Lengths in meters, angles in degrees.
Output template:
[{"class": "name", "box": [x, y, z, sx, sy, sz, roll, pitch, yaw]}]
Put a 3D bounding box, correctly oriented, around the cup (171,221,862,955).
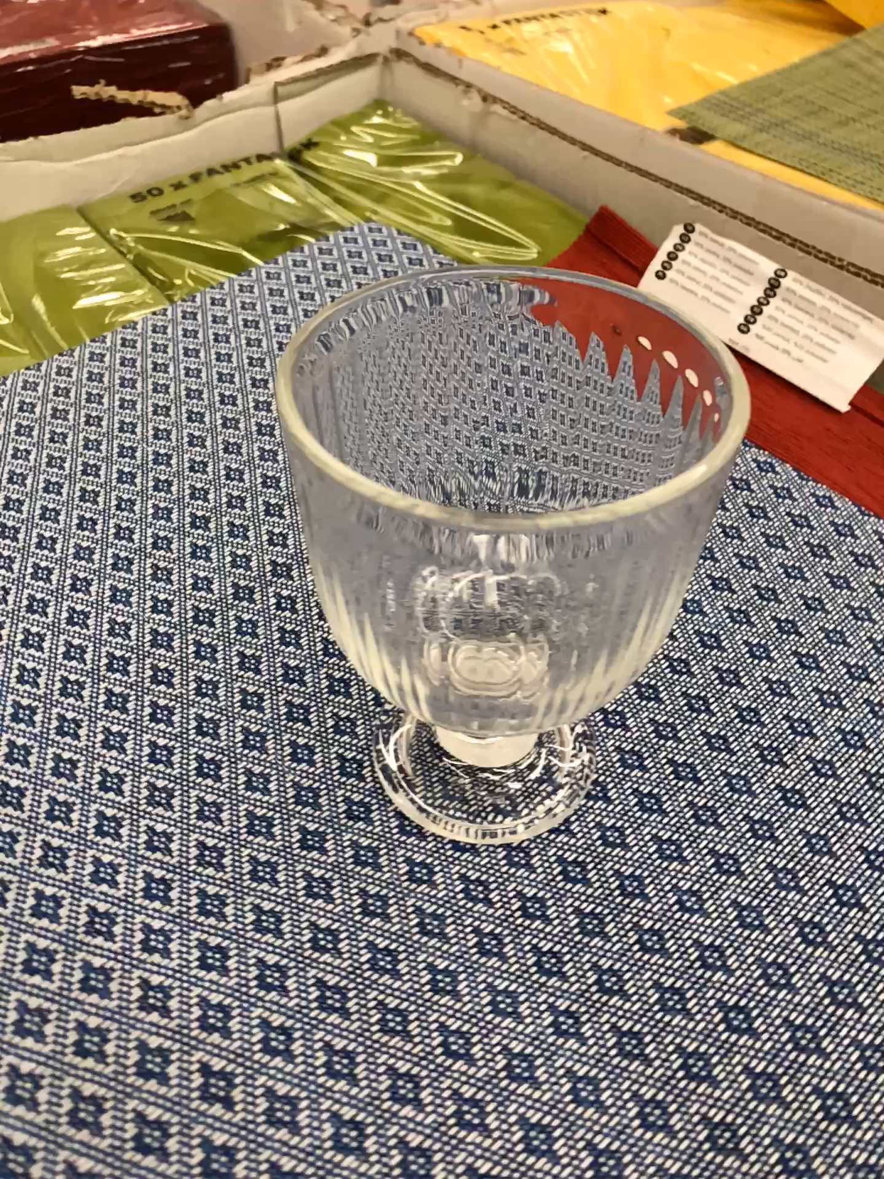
[{"class": "cup", "box": [0.009, -0.004, 0.231, 0.100, 0.110, 0.100, -1, 43, 1]}]
